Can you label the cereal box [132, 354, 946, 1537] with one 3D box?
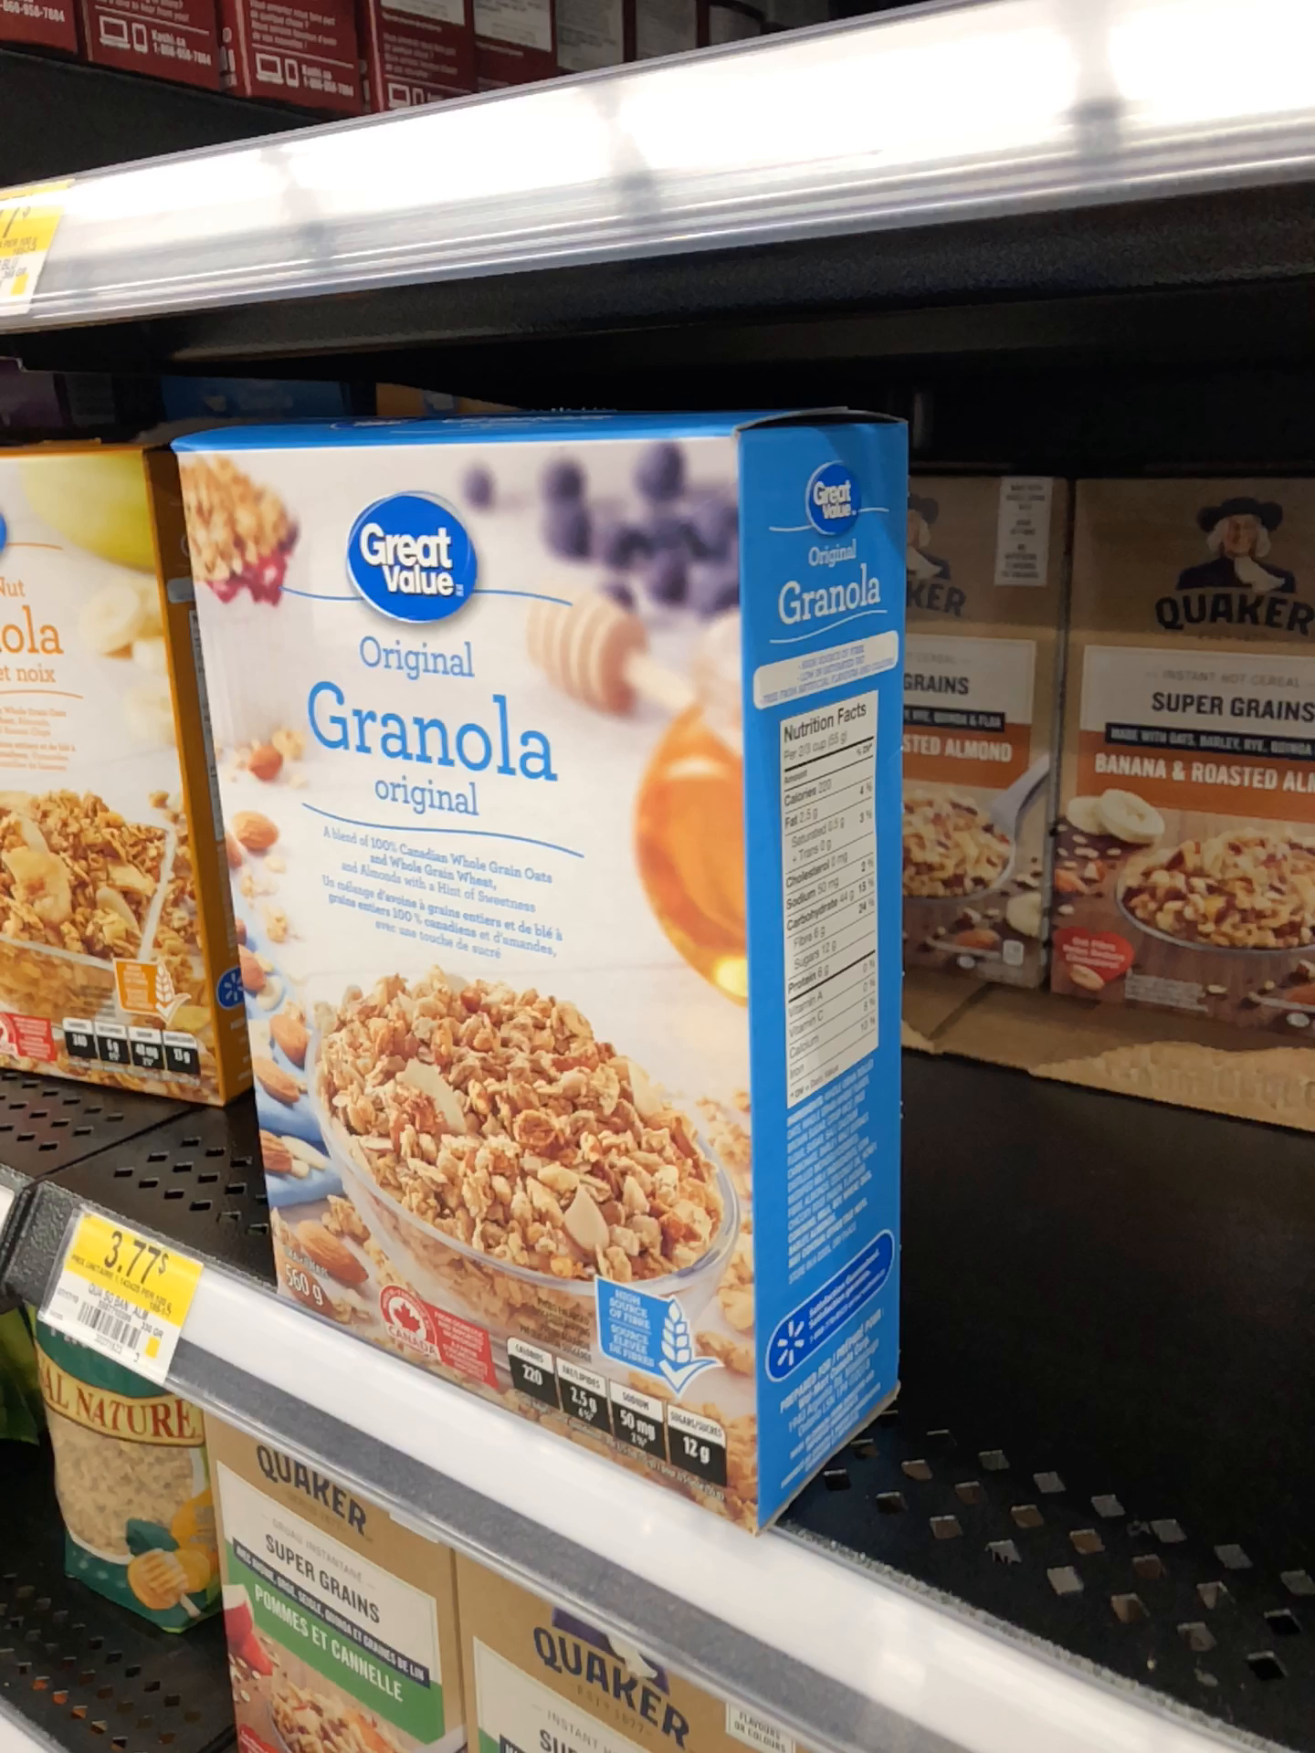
[{"bbox_3d":[-0.027,0.003,0.329,0.160,0.219,0.070,10,20,36],"label":"cereal box"}]
